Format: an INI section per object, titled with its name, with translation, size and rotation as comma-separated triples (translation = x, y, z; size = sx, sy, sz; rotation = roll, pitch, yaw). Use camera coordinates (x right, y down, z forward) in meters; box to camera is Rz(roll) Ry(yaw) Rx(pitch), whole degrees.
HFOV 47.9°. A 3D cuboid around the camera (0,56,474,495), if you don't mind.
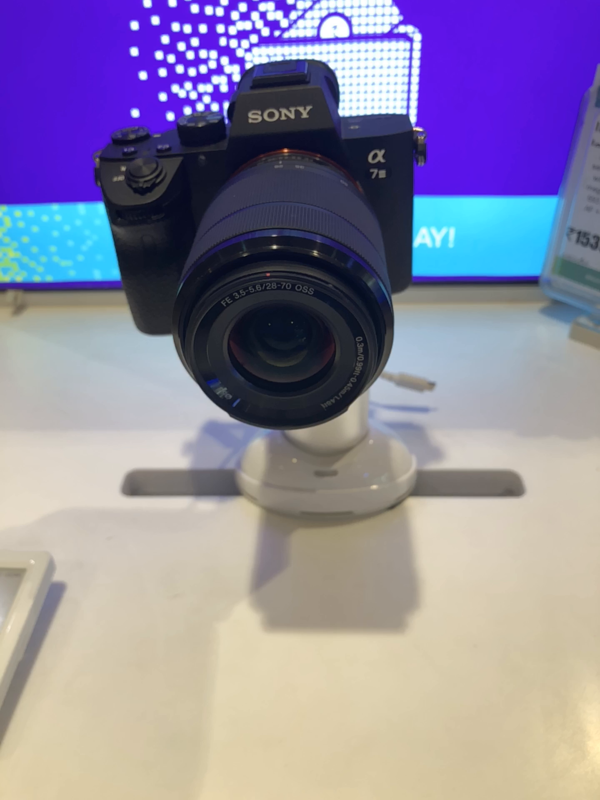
[camera]
translation = -0.020, -0.054, 0.252
size = 0.120, 0.109, 0.128
rotation = -4, 36, -4
